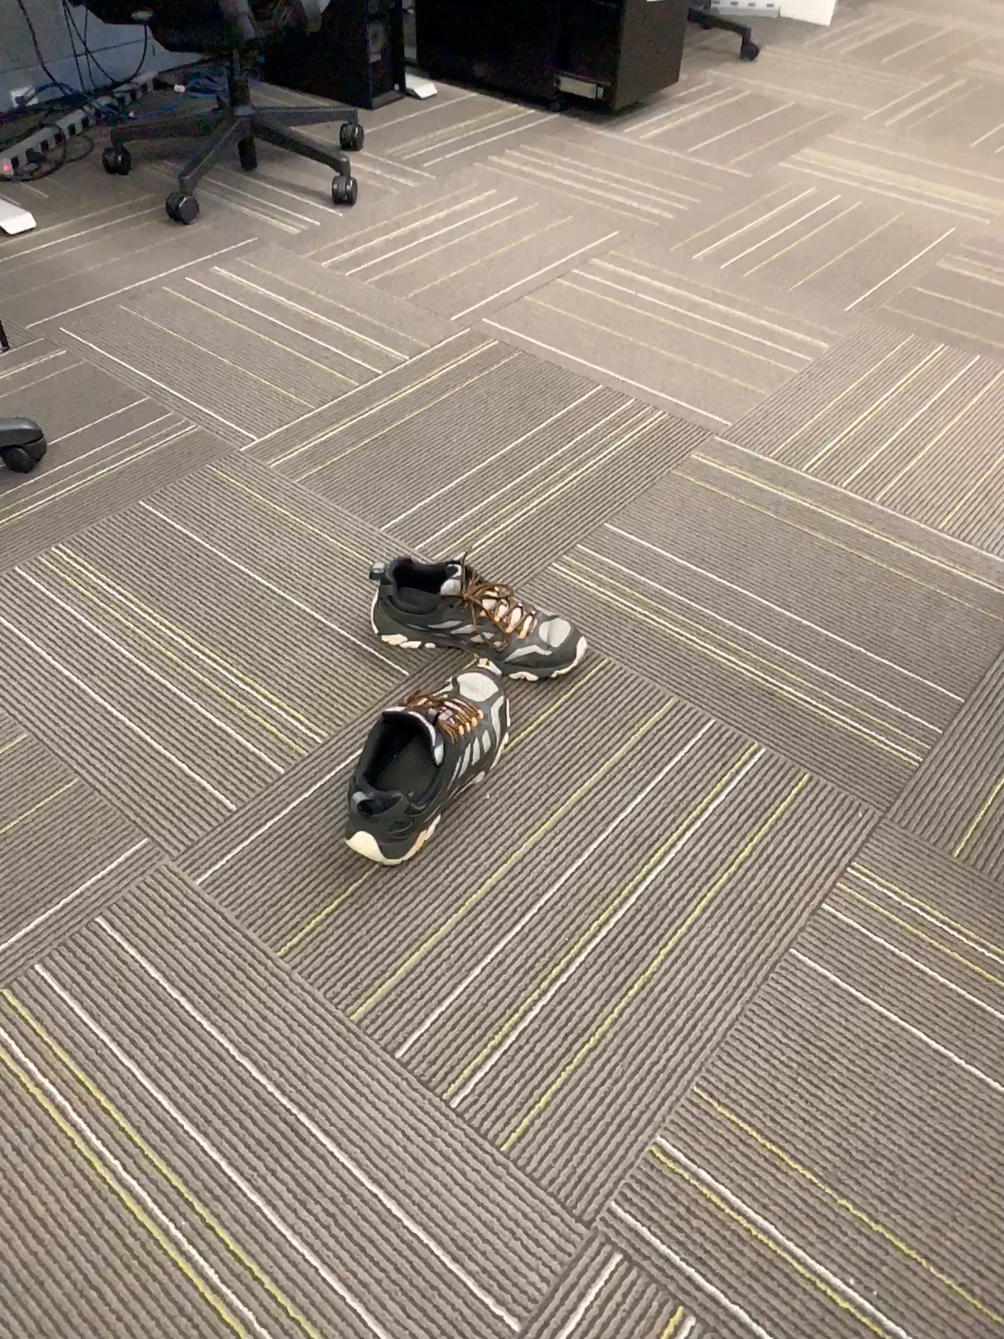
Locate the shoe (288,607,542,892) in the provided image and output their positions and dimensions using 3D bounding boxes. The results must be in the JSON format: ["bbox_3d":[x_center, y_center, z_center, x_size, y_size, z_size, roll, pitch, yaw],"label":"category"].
[{"bbox_3d":[-0.089,0.080,1.174,0.140,0.099,0.311,21,49,18],"label":"shoe"}]

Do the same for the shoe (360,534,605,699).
[{"bbox_3d":[-0.026,-0.079,1.451,0.310,0.099,0.141,14,47,12],"label":"shoe"}]
